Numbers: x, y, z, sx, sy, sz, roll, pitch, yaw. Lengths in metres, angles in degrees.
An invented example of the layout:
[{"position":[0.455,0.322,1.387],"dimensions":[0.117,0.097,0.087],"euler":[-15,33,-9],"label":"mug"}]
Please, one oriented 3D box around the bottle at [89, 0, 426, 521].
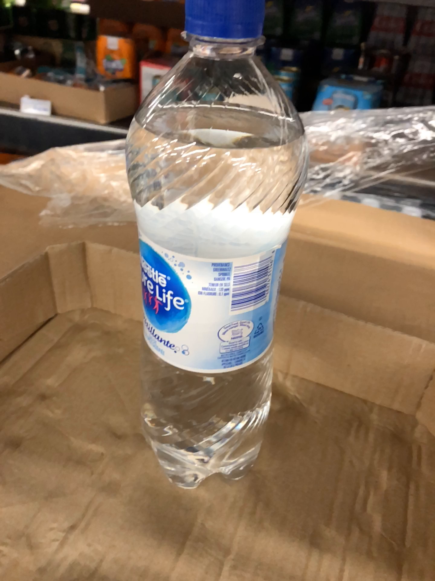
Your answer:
[{"position":[0.003,-0.014,0.277],"dimensions":[0.100,0.278,0.101],"euler":[4,33,-2],"label":"bottle"}]
